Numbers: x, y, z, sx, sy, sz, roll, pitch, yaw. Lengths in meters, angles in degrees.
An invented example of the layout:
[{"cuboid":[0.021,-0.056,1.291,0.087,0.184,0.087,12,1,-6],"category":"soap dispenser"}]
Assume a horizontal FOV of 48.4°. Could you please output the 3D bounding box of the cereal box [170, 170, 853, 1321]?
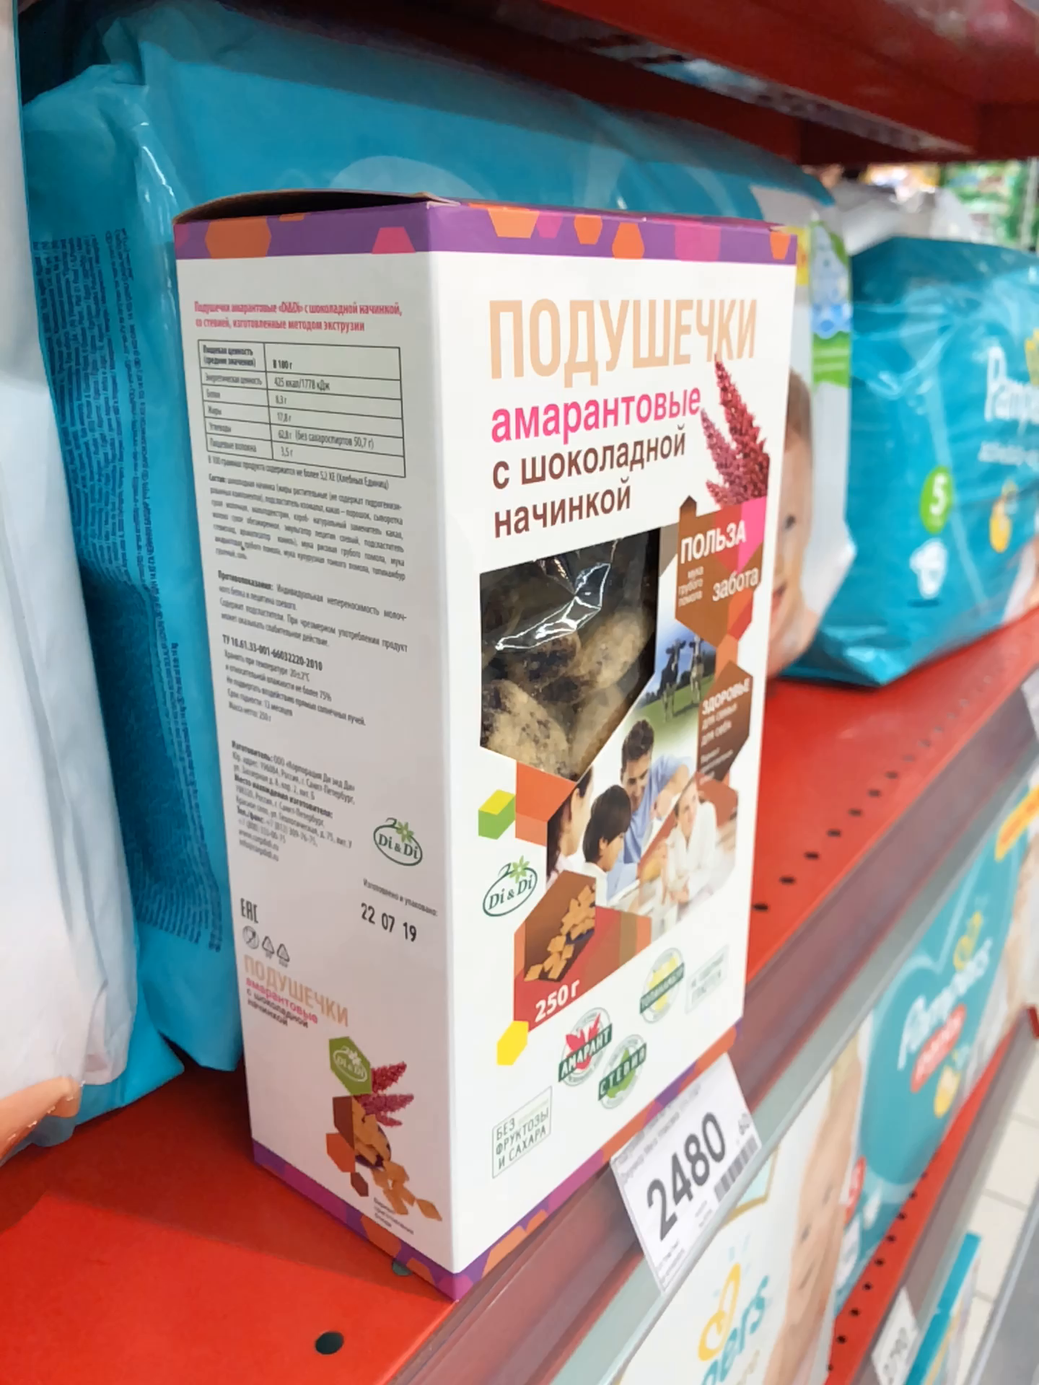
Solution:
[{"cuboid":[0.006,0.002,0.278,0.070,0.219,0.141,15,23,37],"category":"cereal box"}]
